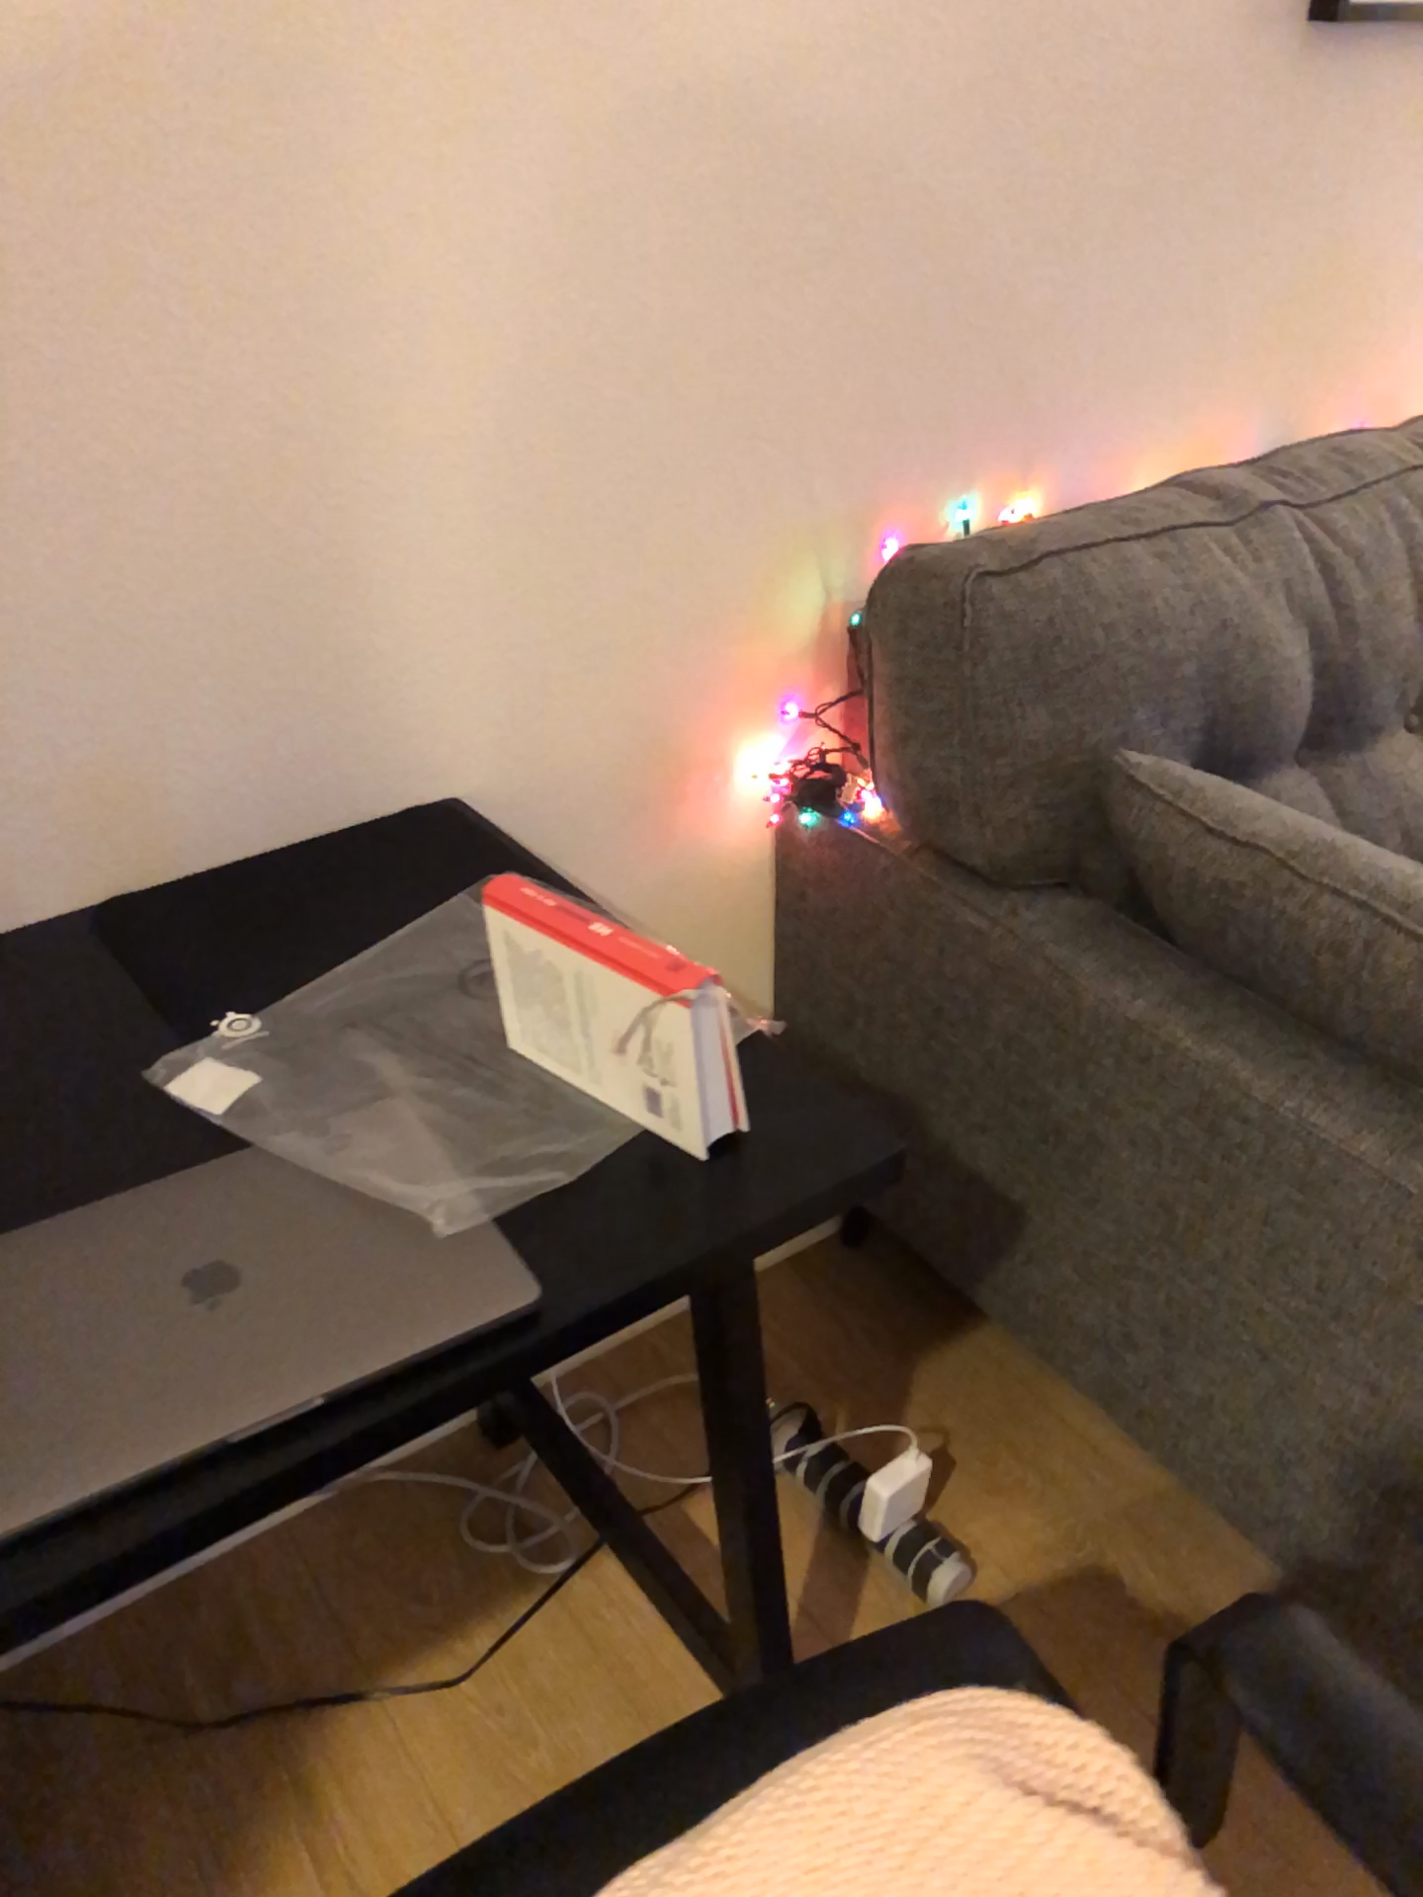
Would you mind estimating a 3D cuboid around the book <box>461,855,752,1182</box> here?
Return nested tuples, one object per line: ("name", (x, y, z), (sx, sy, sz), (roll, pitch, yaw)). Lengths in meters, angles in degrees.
("book", (-0.069, 0.040, 0.985), (0.200, 0.129, 0.050), (26, 39, 35))
